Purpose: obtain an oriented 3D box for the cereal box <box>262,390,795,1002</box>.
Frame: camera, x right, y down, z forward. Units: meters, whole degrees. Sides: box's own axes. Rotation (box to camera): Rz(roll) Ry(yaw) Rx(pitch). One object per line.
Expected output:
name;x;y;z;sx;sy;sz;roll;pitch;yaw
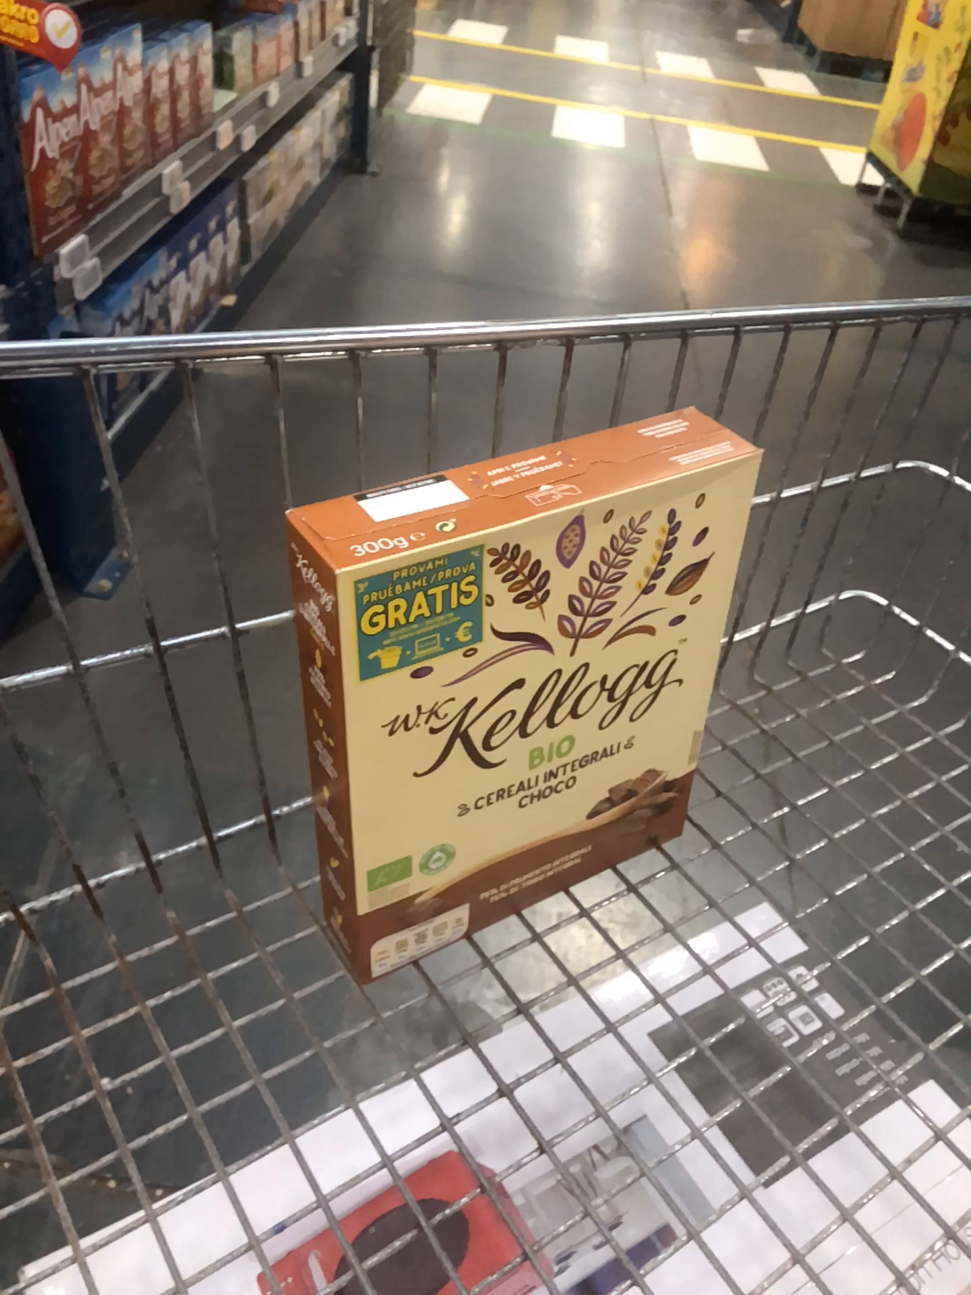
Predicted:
cereal box;0.018;0.021;0.468;0.200;0.219;0.060;-20;43;-27
